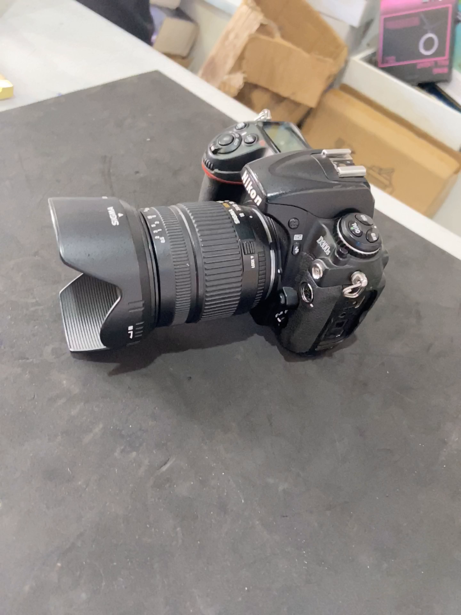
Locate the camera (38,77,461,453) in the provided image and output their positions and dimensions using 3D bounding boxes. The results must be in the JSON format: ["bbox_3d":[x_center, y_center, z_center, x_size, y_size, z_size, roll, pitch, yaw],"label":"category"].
[{"bbox_3d":[-0.007,-0.036,0.285,0.180,0.109,0.171,-7,51,-23],"label":"camera"}]
